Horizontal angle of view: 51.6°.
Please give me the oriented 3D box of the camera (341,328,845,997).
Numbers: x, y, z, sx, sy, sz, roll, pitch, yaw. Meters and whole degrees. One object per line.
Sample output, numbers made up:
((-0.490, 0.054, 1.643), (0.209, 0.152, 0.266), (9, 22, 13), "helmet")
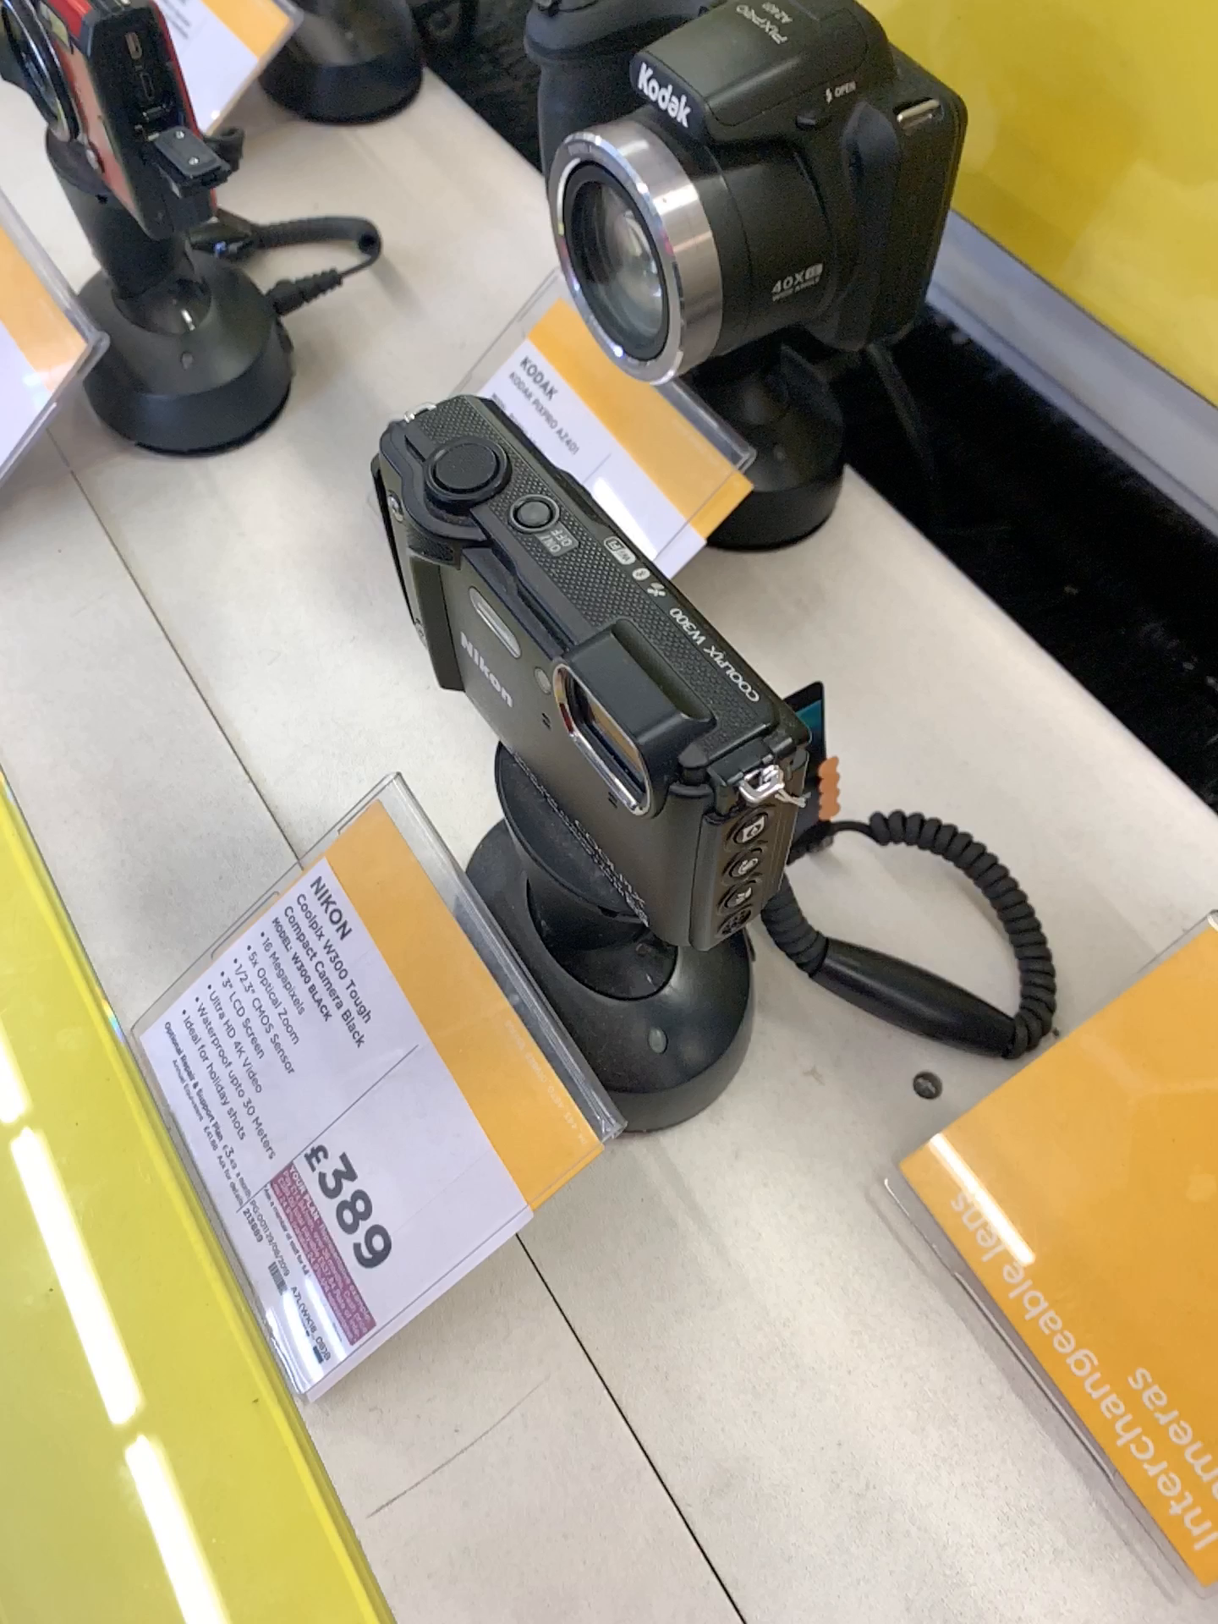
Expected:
((-0.007, -0.031, 0.255), (0.030, 0.070, 0.121), (-29, 62, -16), "camera")
